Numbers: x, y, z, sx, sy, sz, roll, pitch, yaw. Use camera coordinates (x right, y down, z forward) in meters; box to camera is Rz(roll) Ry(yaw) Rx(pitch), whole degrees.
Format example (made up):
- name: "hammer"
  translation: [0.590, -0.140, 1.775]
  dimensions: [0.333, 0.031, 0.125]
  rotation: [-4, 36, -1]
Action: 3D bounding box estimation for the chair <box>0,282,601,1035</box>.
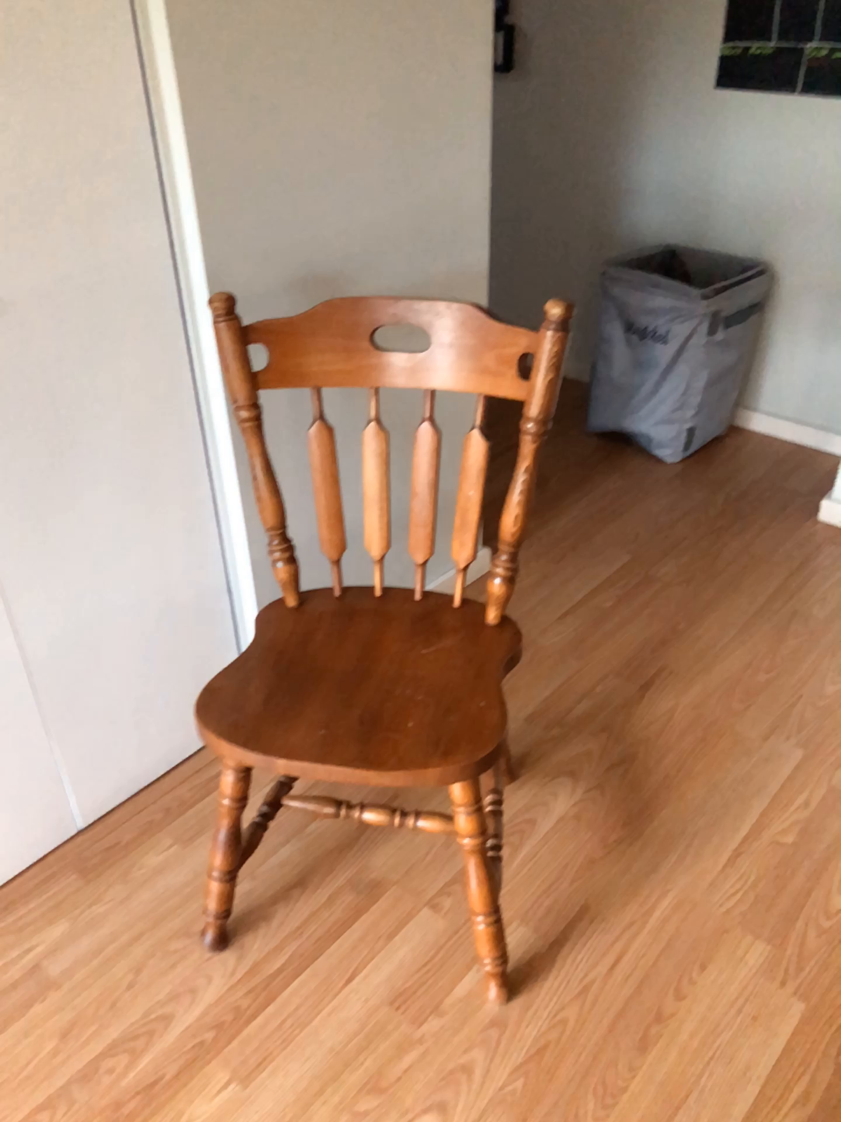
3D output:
- name: "chair"
  translation: [-0.076, 0.112, 1.317]
  dimensions: [0.560, 0.817, 0.592]
  rotation: [6, 34, 10]
